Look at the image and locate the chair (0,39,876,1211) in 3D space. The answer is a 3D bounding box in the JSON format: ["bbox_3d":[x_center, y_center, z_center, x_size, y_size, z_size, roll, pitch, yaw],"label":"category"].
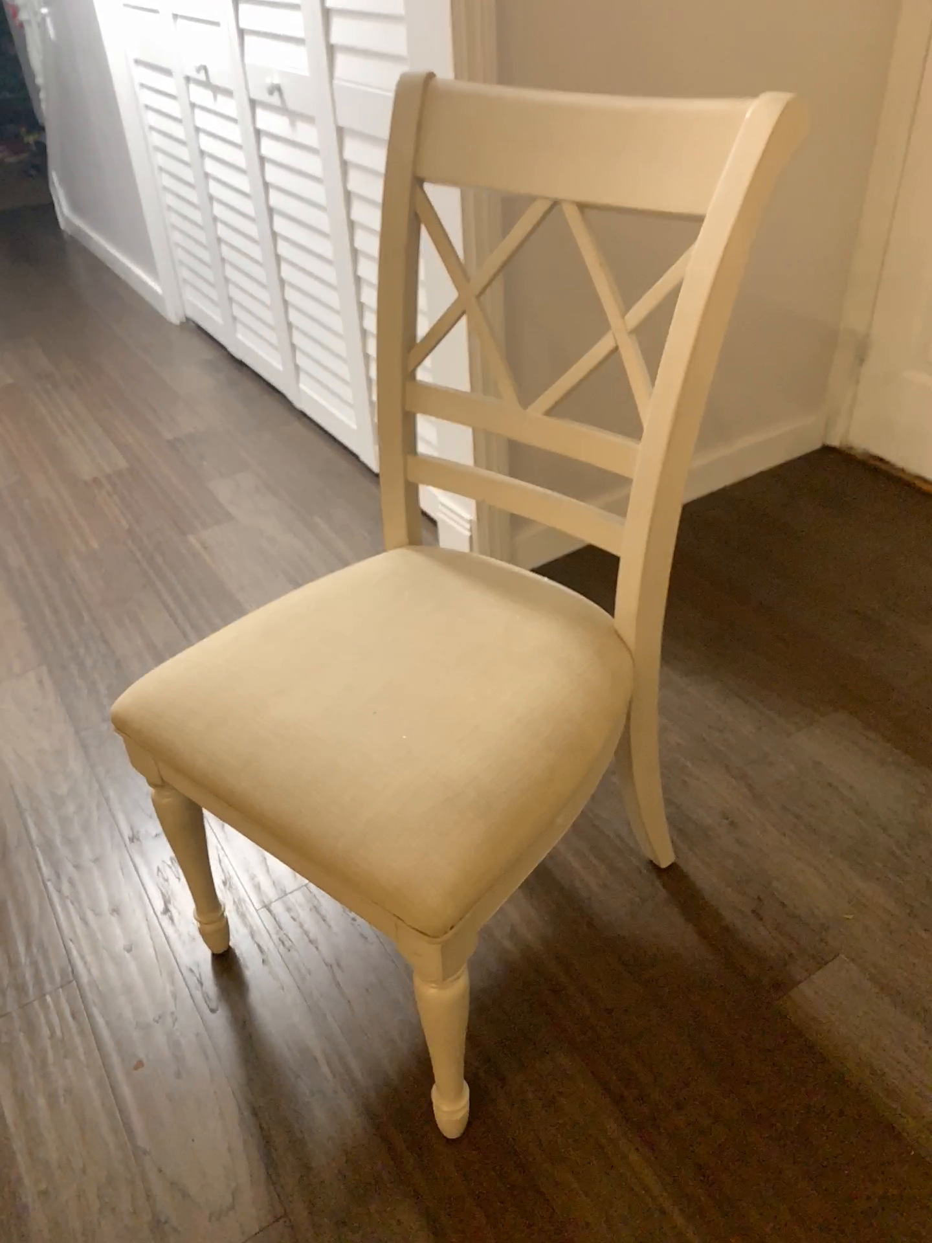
[{"bbox_3d":[-0.047,-0.018,1.062,0.582,0.994,0.612,23,45,31],"label":"chair"}]
